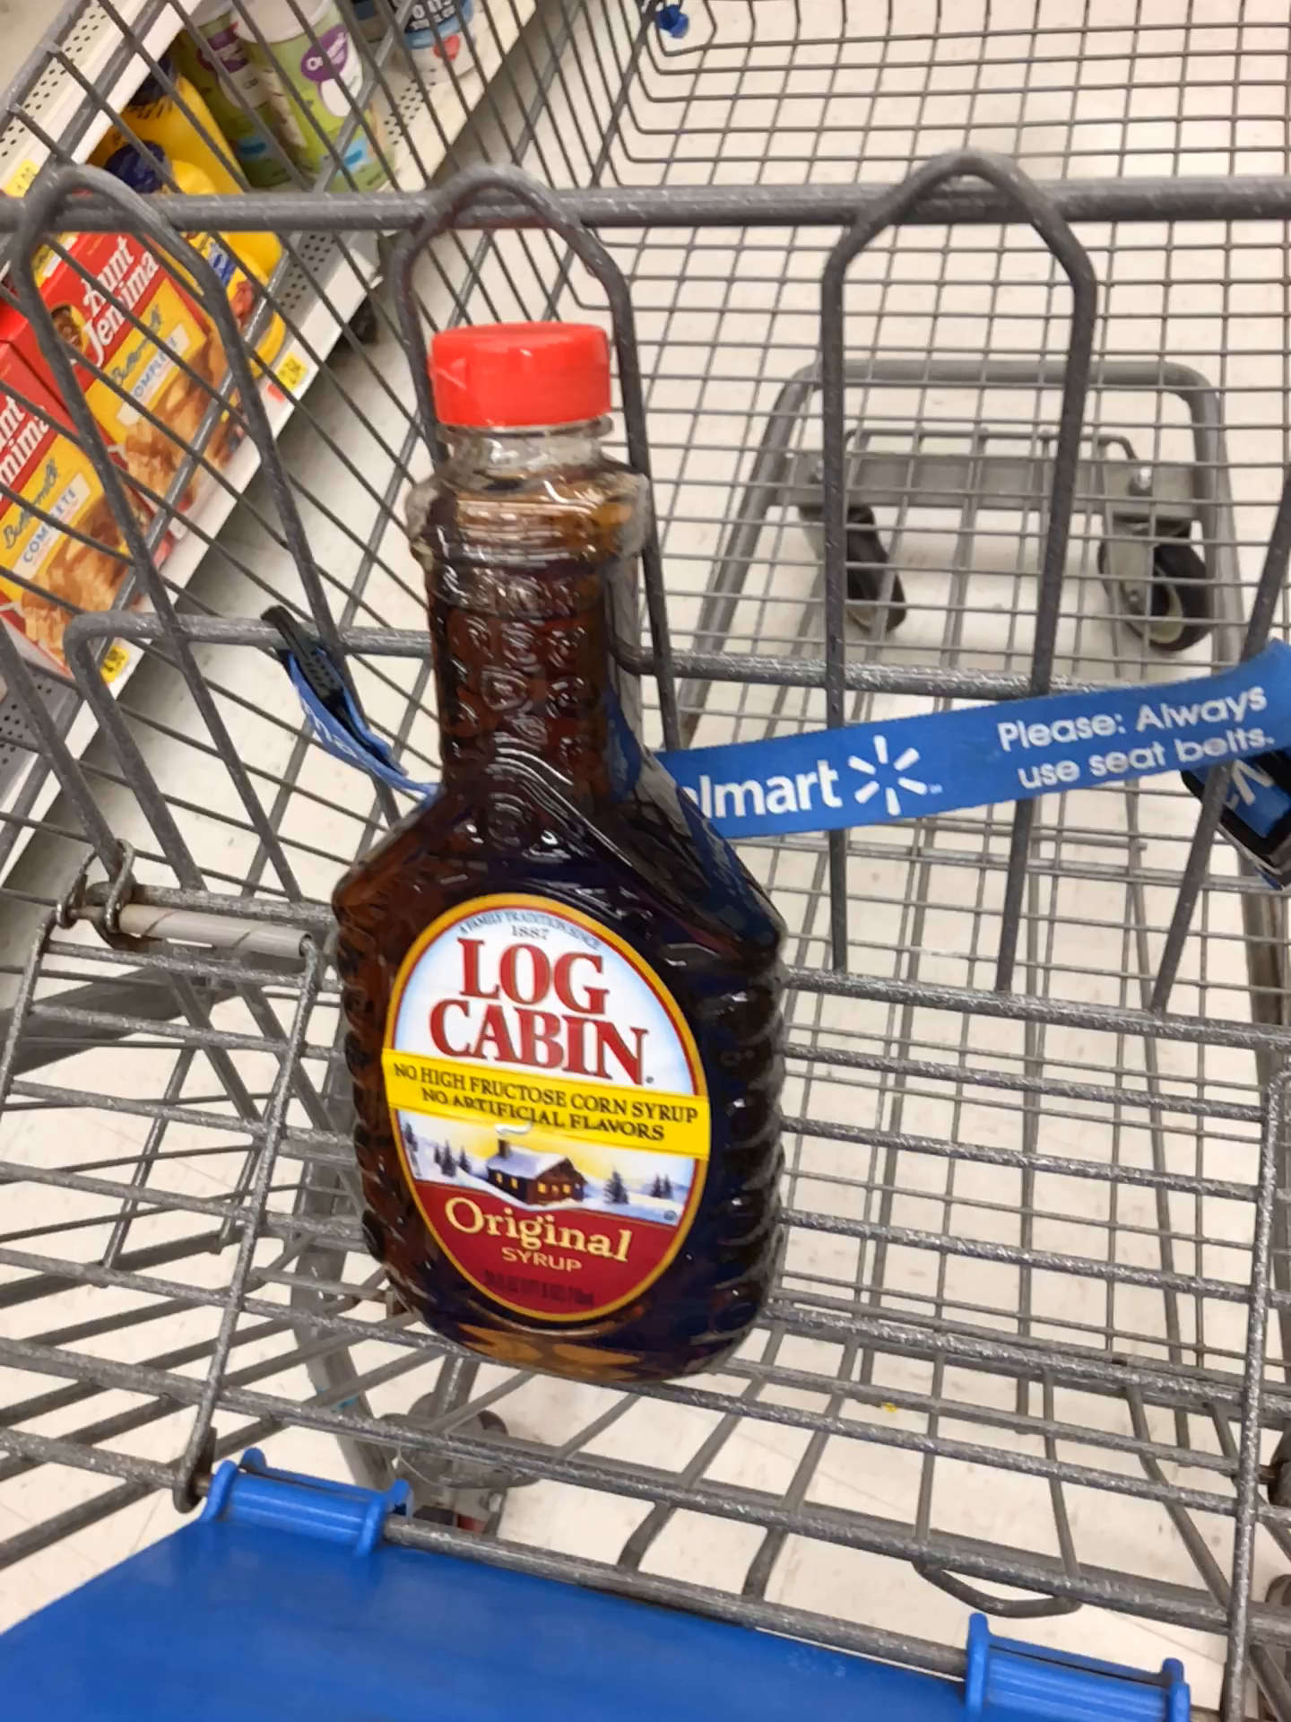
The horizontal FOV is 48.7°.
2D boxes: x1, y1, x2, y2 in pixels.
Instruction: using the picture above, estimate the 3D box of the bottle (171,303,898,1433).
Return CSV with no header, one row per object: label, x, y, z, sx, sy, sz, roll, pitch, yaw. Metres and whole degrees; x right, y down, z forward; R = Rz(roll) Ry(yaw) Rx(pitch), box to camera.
bottle,-0.012,0.009,0.318,0.120,0.240,0.060,5,29,15
